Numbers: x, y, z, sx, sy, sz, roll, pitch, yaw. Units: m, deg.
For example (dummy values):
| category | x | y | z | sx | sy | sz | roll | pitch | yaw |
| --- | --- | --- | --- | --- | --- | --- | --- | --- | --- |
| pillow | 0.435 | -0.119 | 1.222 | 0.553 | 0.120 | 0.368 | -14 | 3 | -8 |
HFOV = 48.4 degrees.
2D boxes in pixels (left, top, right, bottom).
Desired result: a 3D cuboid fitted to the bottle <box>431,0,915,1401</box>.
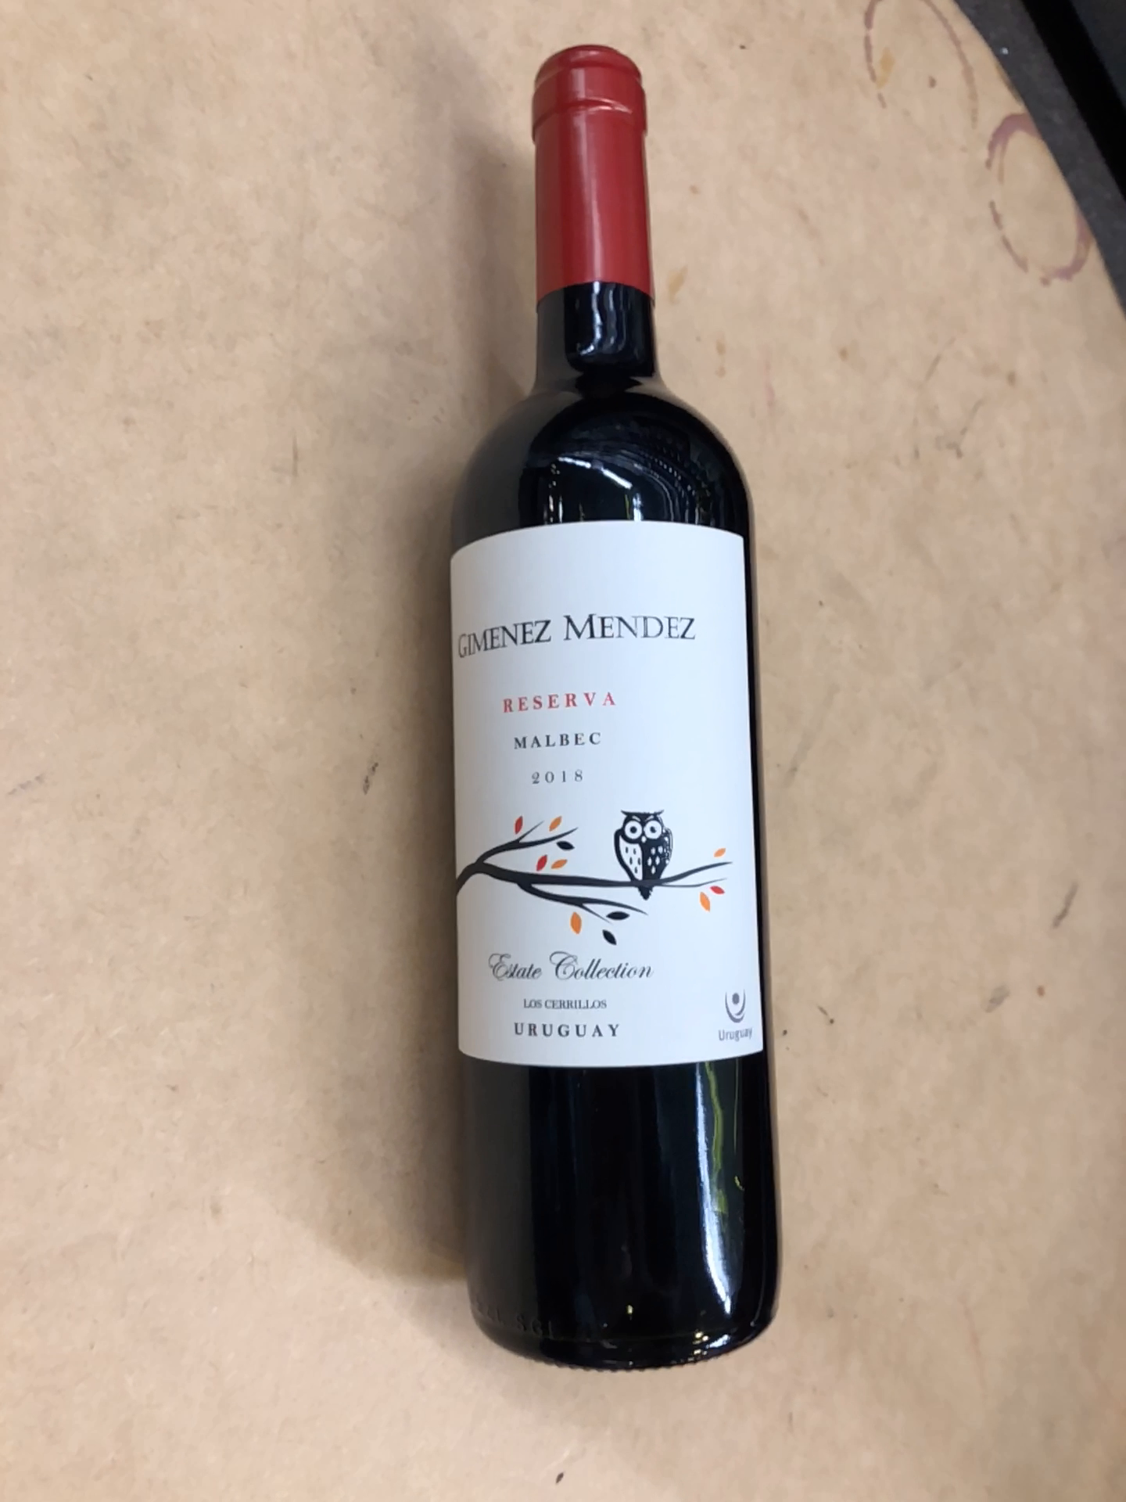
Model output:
| category | x | y | z | sx | sy | sz | roll | pitch | yaw |
| --- | --- | --- | --- | --- | --- | --- | --- | --- | --- |
| bottle | 0.023 | -0.033 | 0.288 | 0.080 | 0.060 | 0.310 | 2 | 85 | -37 |
